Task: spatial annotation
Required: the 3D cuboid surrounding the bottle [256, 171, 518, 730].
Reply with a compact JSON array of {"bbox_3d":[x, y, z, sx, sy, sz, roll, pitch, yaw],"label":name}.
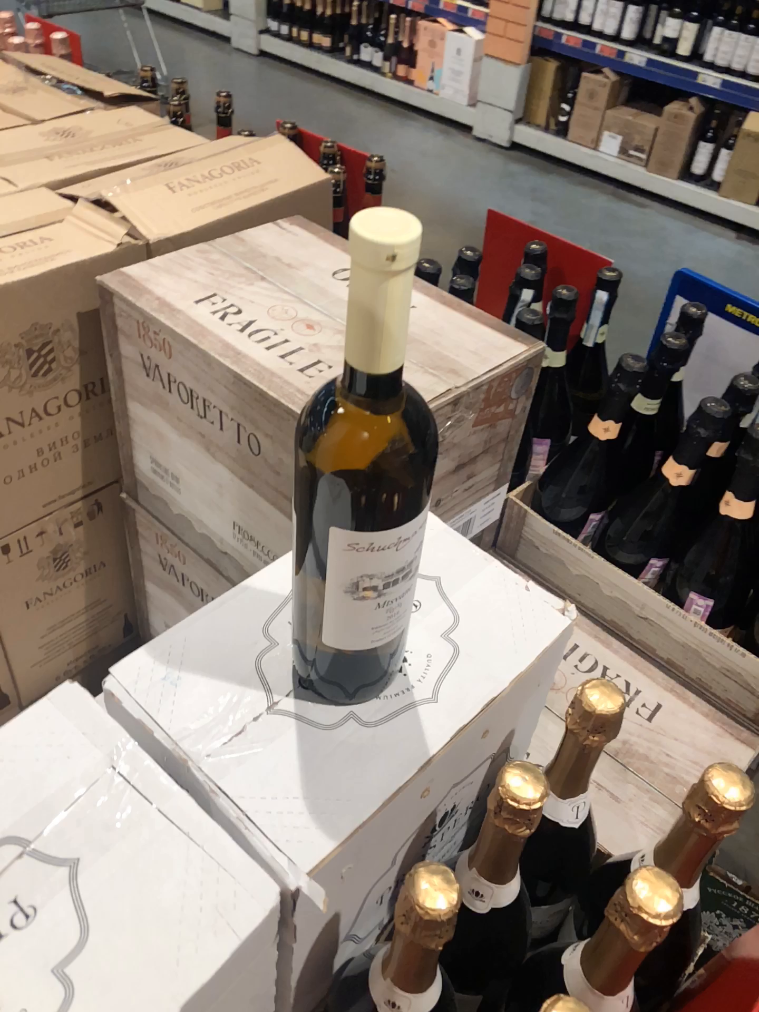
[{"bbox_3d":[-0.010,-0.011,0.434,0.080,0.288,0.073,-22,49,-28],"label":"bottle"}]
